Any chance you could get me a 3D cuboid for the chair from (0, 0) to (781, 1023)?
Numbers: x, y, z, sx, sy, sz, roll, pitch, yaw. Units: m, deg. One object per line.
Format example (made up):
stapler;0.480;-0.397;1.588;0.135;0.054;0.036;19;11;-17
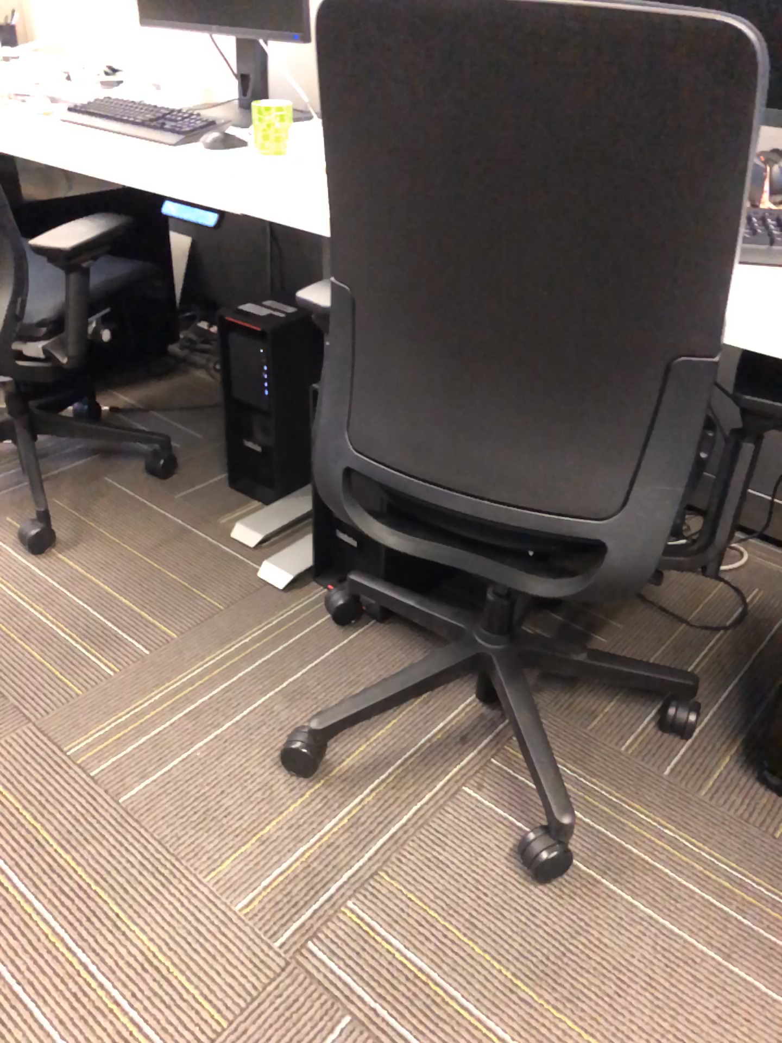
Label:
chair;0.091;-0.130;1.137;0.782;1.014;0.662;26;39;32
